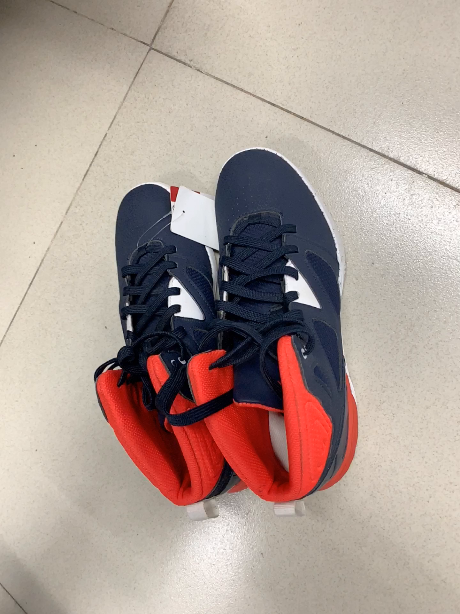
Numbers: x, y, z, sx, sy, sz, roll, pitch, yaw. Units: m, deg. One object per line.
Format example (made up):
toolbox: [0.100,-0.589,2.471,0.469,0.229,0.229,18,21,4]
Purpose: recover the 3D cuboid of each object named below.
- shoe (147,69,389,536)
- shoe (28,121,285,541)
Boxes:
shoe: [0.034,0.002,0.364,0.110,0.120,0.290,-11,83,22]
shoe: [-0.060,0.018,0.394,0.110,0.100,0.290,-19,81,21]
